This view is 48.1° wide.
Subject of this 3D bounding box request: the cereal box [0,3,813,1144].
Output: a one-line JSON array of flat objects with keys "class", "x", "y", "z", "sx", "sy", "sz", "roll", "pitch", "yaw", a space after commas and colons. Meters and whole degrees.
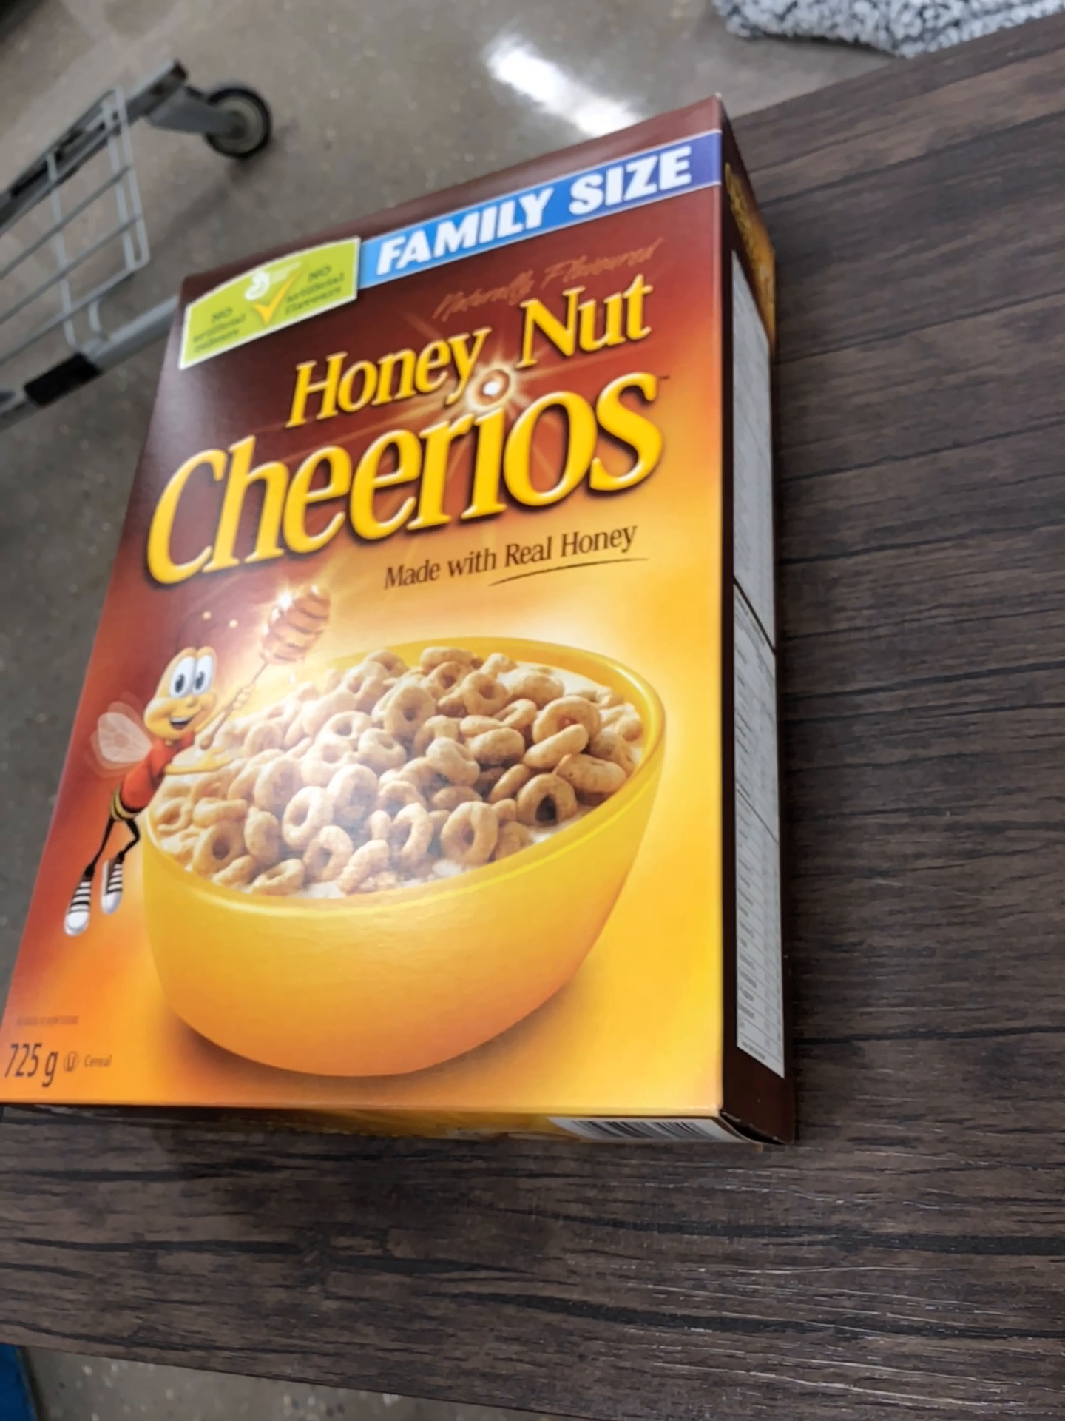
[{"class": "cereal box", "x": -0.037, "y": -0.051, "z": 0.436, "sx": 0.251, "sy": 0.080, "sz": 0.380, "roll": -8, "pitch": 62, "yaw": 26}]
